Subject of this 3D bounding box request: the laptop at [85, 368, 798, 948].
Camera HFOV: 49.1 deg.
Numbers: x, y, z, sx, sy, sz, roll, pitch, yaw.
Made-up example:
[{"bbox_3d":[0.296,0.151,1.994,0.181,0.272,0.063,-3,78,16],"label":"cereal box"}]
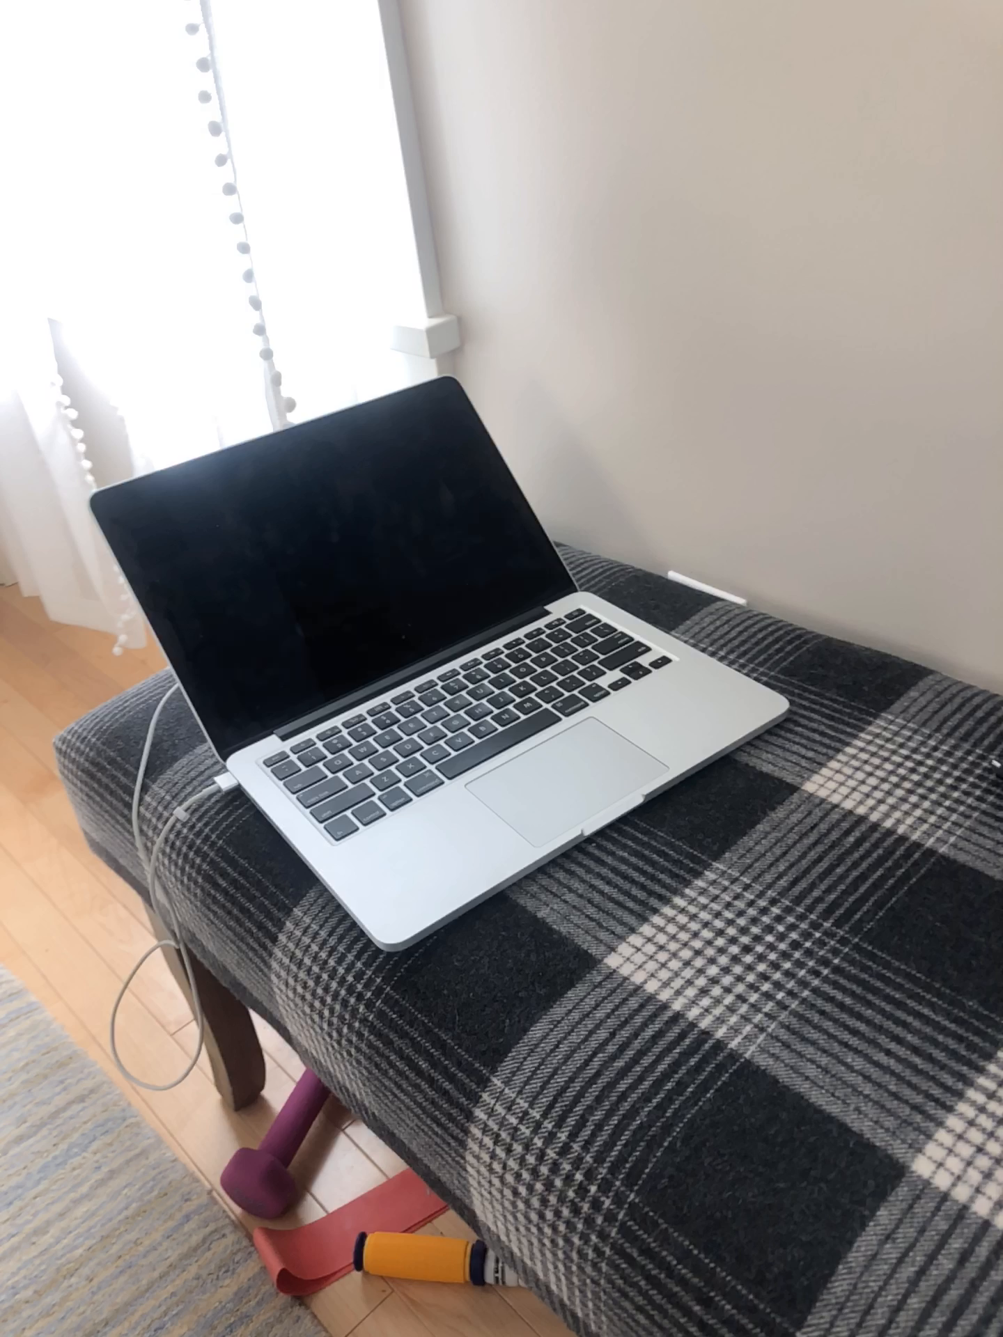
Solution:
[{"bbox_3d":[-0.051,-0.050,0.730,0.307,0.142,0.367,-26,37,-26],"label":"laptop"}]
